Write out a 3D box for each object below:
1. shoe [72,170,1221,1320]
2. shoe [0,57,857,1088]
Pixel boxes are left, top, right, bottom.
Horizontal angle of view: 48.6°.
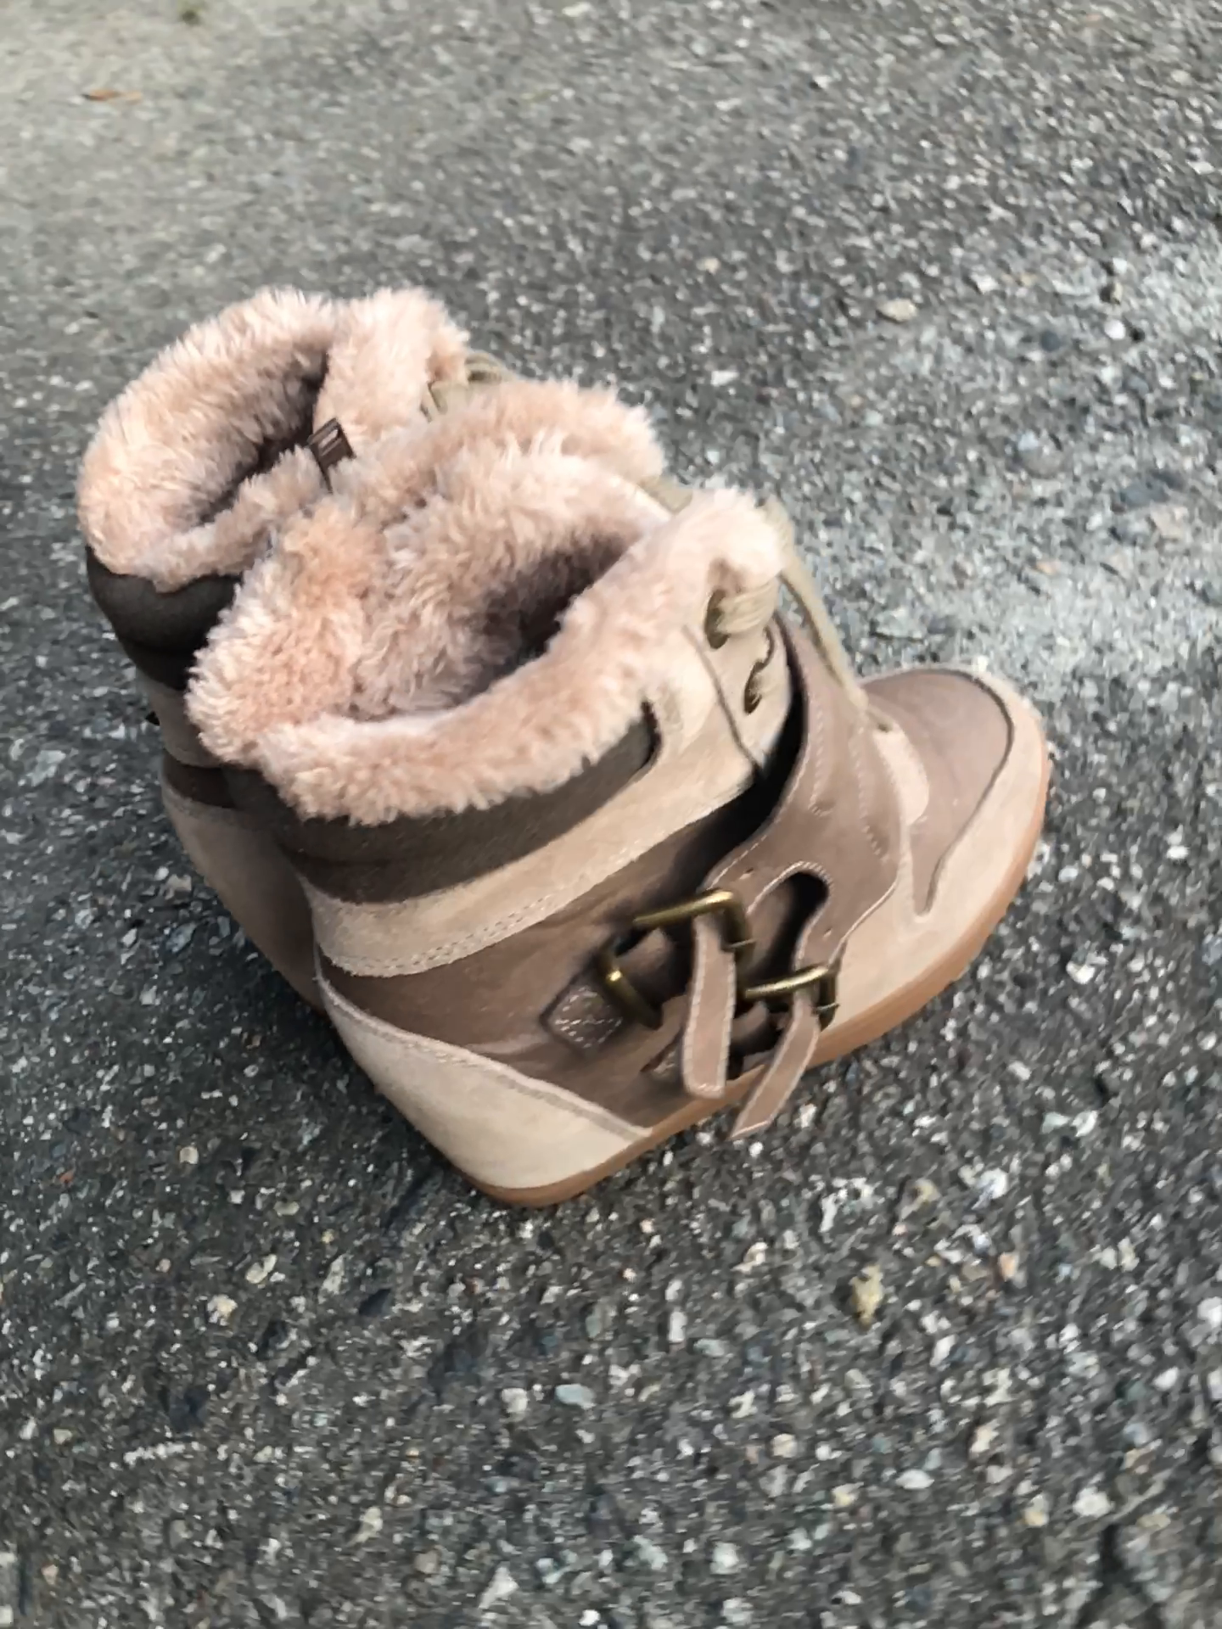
[{"bbox_3d":[0.027,-0.014,0.334,0.230,0.179,0.090,-32,52,-17],"label":"shoe"},{"bbox_3d":[-0.043,-0.072,0.392,0.230,0.179,0.100,-40,54,-22],"label":"shoe"}]
